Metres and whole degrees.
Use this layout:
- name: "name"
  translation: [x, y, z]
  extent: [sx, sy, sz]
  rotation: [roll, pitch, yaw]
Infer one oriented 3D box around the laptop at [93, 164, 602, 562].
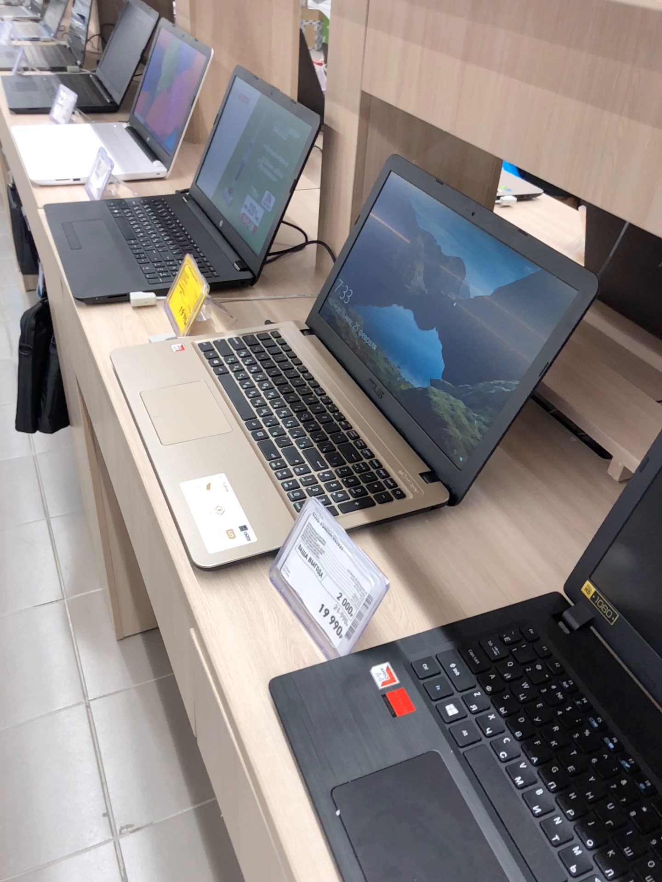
- name: "laptop"
  translation: [-0.018, -0.117, 0.744]
  extent: [0.350, 0.208, 0.367]
  rotation: [-12, 38, -21]
